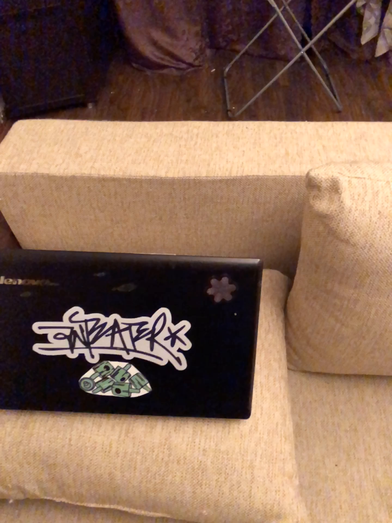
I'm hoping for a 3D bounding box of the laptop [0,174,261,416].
[{"bbox_3d":[-0.123,0.055,0.663,0.413,0.223,0.268,2,55,1],"label":"laptop"}]
